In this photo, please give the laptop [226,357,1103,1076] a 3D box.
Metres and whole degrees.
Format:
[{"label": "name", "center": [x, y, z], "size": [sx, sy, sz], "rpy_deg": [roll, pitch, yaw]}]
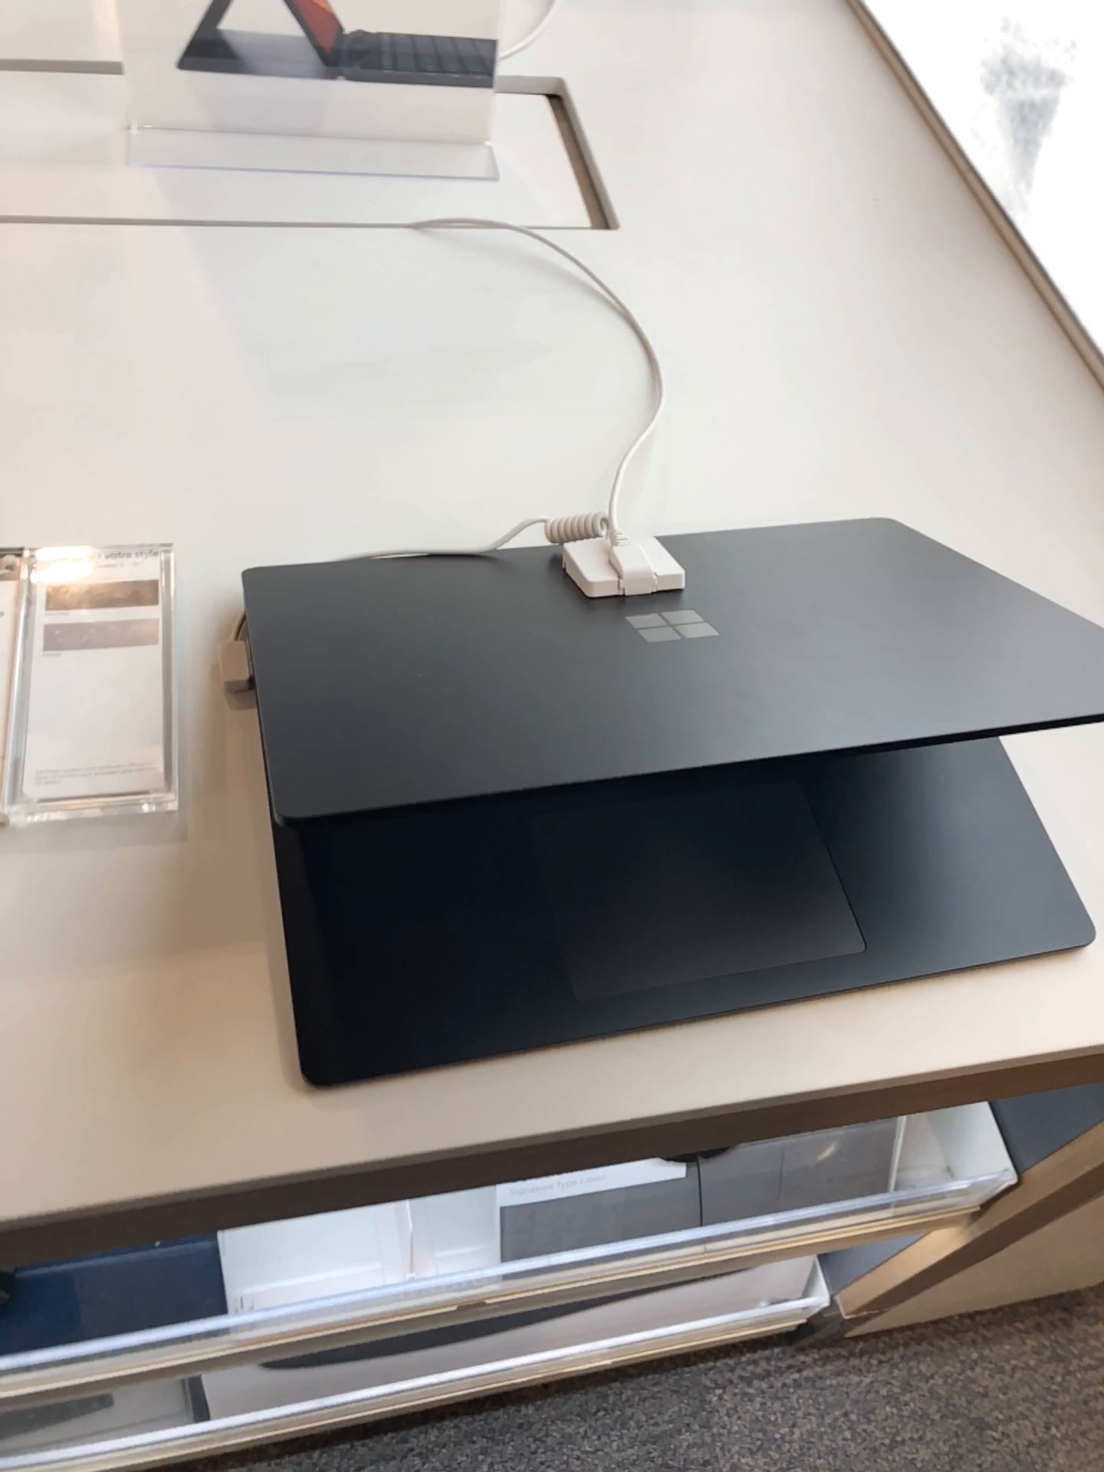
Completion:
[{"label": "laptop", "center": [0.042, -0.020, 0.435], "size": [0.284, 0.086, 0.191], "rpy_deg": [-8, 64, -16]}]
